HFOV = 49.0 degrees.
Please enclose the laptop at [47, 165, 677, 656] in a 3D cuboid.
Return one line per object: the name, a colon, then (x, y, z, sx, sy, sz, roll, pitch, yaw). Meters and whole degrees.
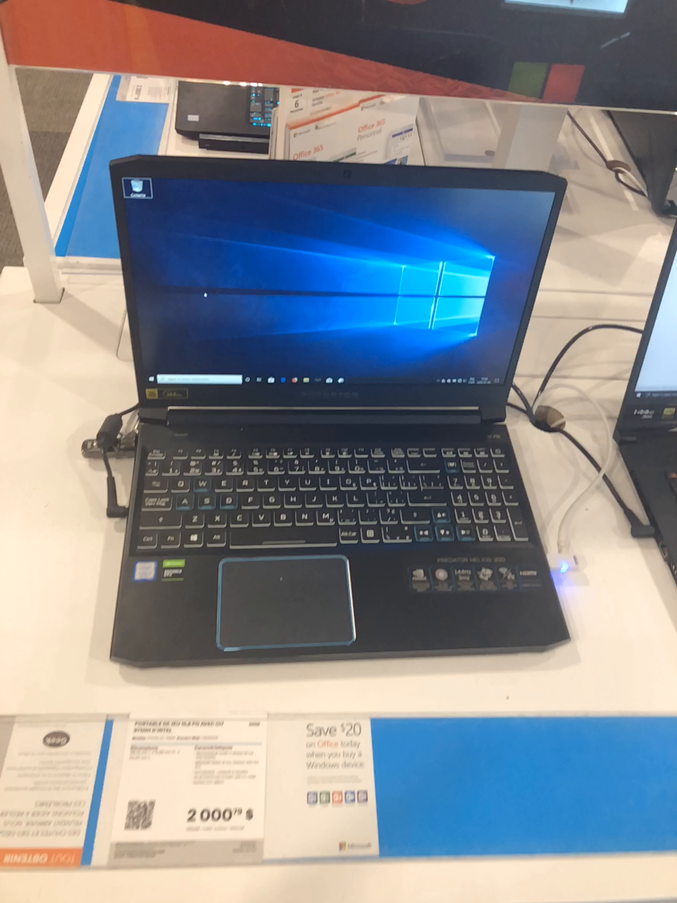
laptop: (0.008, -0.031, 0.565, 0.348, 0.230, 0.274, 0, 51, -6)
